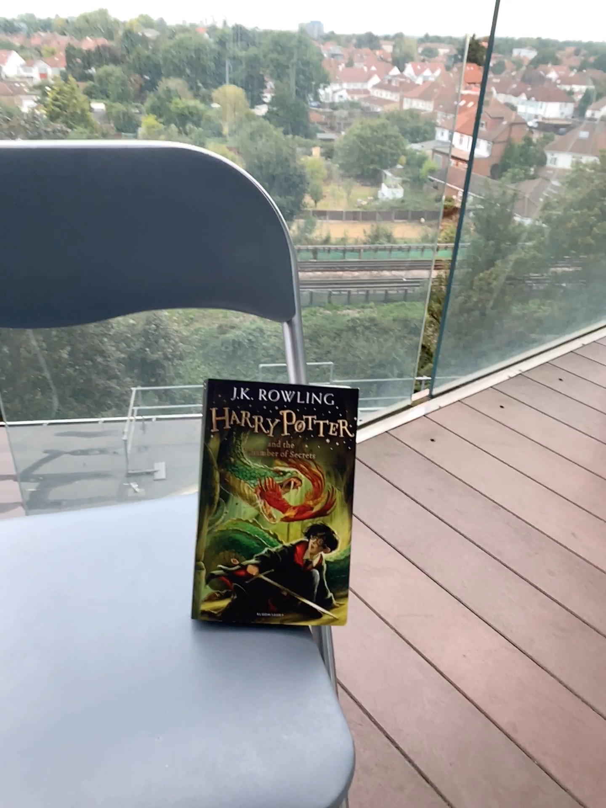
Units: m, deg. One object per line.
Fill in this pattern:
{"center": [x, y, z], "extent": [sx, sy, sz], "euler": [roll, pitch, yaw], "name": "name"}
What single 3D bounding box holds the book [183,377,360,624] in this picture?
{"center": [-0.026, 0.079, 0.527], "extent": [0.140, 0.200, 0.040], "euler": [1, 0, -2], "name": "book"}
